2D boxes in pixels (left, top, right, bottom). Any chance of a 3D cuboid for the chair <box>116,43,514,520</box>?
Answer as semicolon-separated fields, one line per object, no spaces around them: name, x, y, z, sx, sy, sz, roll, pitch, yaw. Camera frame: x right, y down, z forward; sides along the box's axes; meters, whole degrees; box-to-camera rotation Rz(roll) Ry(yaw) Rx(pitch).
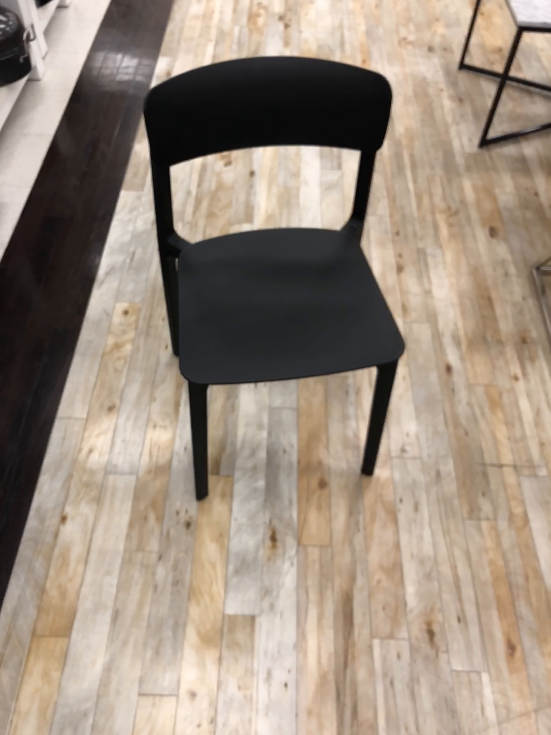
chair;0.010;-0.134;1.207;0.500;0.709;0.541;-7;53;-7
